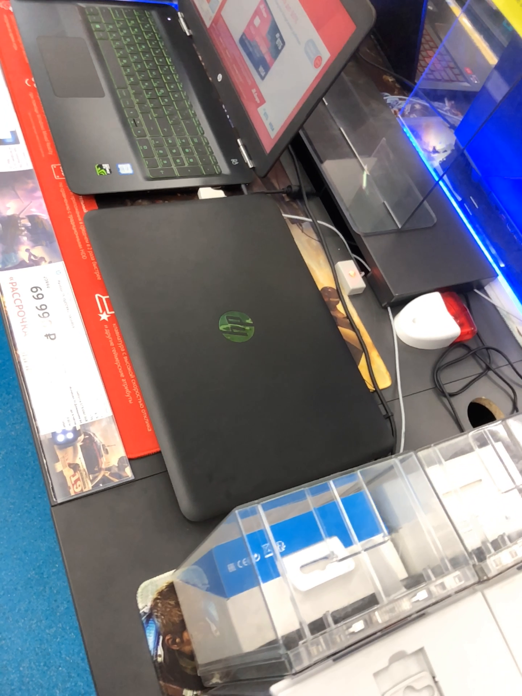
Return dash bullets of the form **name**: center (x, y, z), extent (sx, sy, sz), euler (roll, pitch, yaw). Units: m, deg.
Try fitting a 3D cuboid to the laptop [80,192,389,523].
- **laptop**: center (-0.036, -0.023, 0.647), extent (0.240, 0.006, 0.372), euler (-13, 66, -25)
